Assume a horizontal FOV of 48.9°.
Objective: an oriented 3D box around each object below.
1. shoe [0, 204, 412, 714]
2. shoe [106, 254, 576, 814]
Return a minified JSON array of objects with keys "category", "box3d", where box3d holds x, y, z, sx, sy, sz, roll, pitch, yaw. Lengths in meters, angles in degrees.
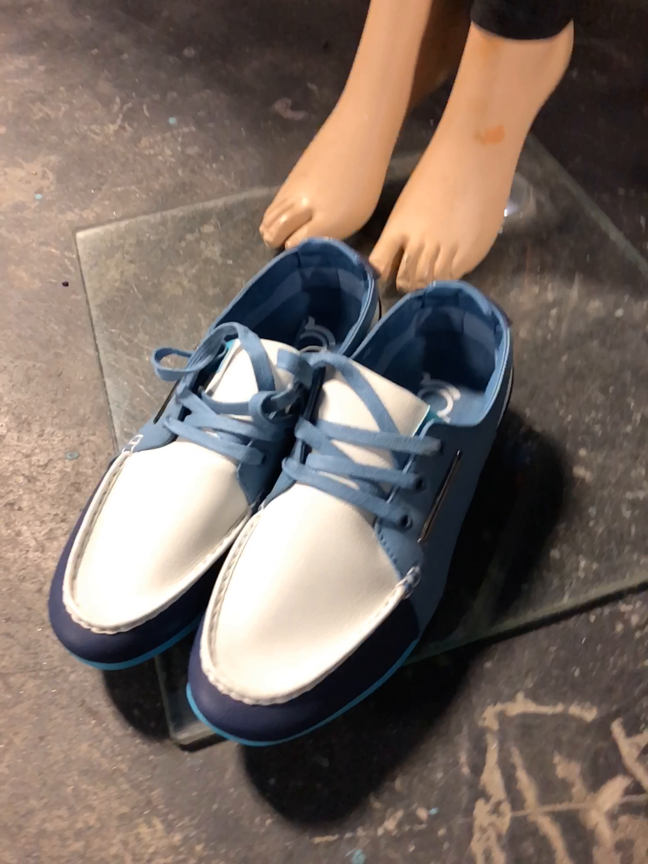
[{"category":"shoe","box3d":[-0.055,0.001,0.393,0.090,0.099,0.261,26,59,19]},{"category":"shoe","box3d":[0.026,0.036,0.364,0.100,0.099,0.251,24,58,21]}]
